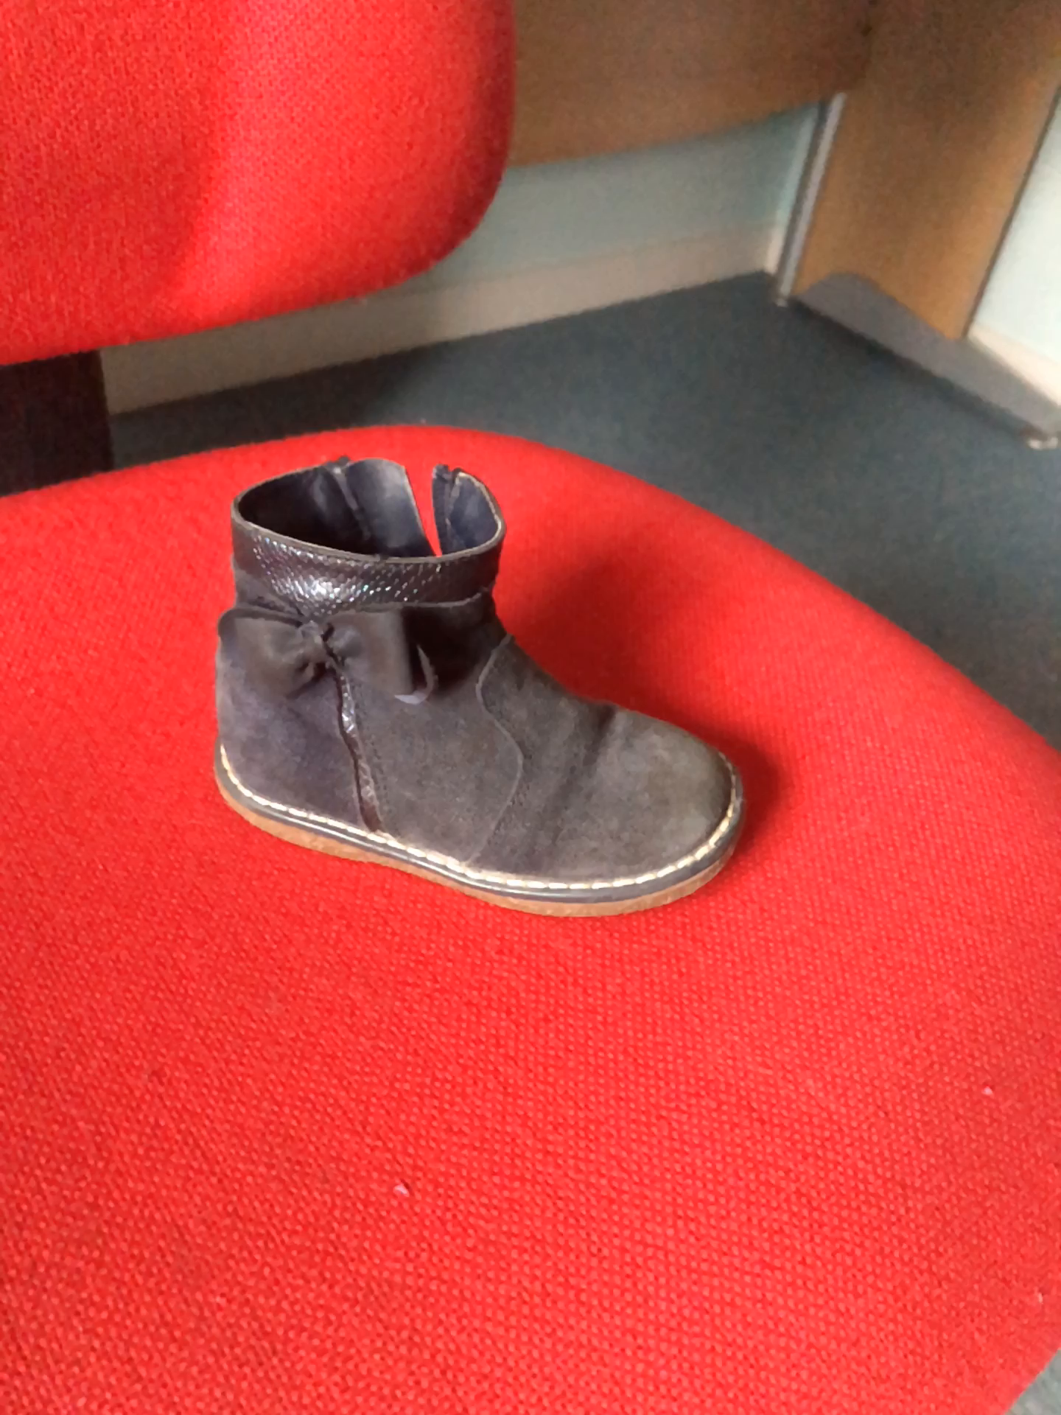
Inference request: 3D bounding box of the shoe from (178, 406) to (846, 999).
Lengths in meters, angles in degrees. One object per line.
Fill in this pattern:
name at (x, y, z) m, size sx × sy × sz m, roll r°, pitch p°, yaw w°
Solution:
shoe at (-0.005, -0.002, 0.319) m, size 0.150 × 0.099 × 0.081 m, roll 14°, pitch 41°, yaw 4°
